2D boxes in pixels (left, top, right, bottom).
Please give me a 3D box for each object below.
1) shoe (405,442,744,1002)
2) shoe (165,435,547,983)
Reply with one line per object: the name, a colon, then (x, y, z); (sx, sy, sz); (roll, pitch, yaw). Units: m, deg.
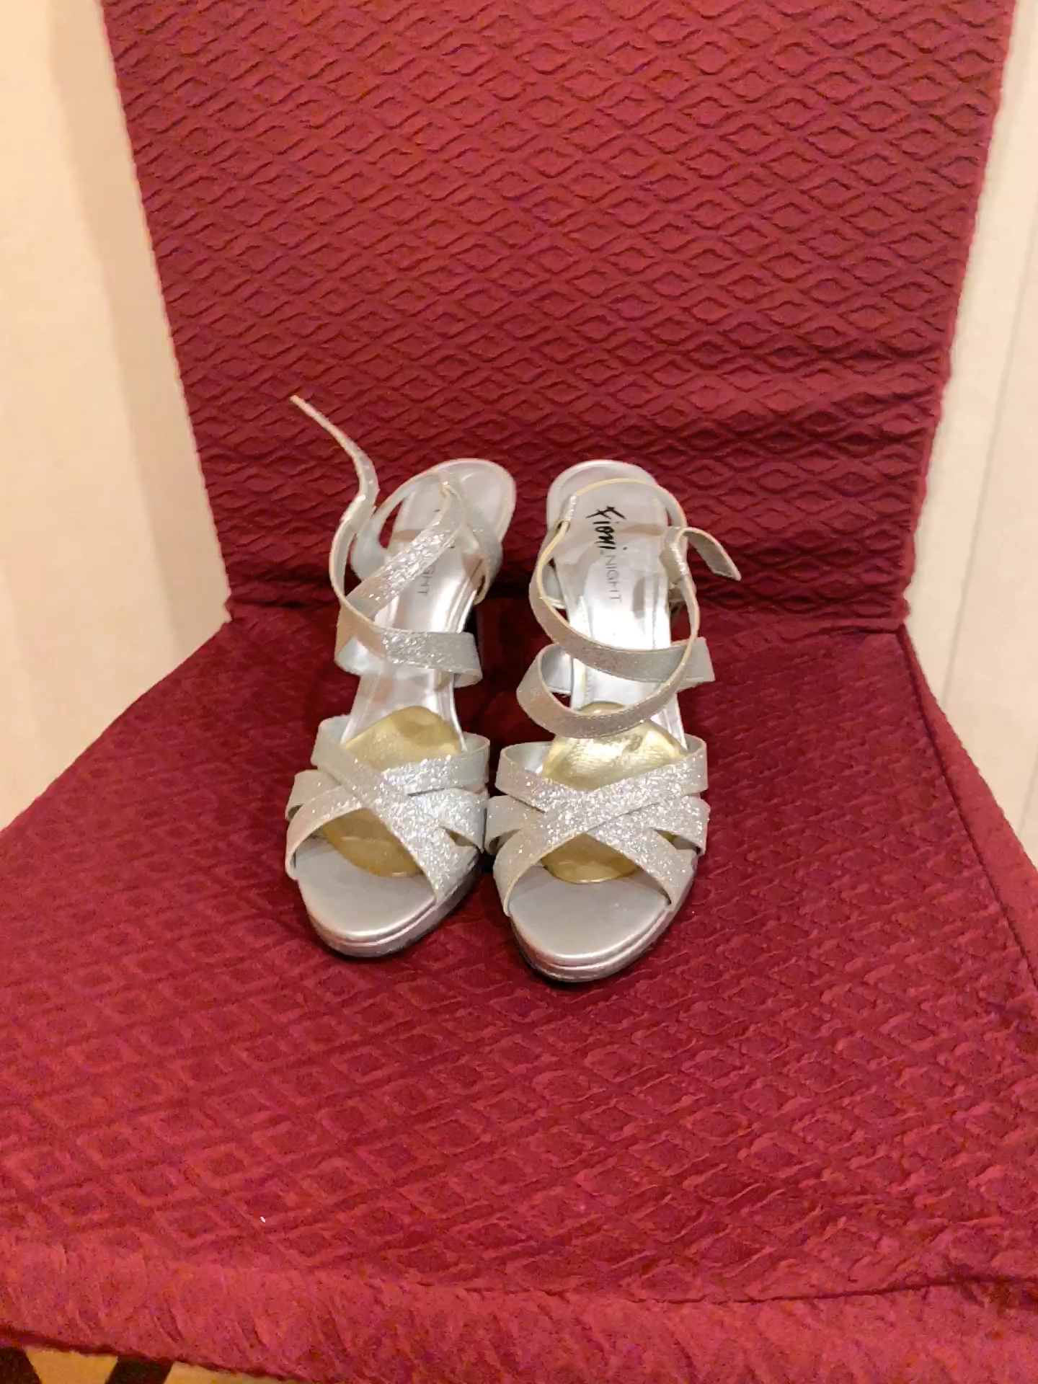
shoe: (0.032, -0.004, 0.438); (0.100, 0.119, 0.221); (1, 34, 8)
shoe: (-0.047, -0.009, 0.454); (0.100, 0.119, 0.231); (0, 34, 6)
